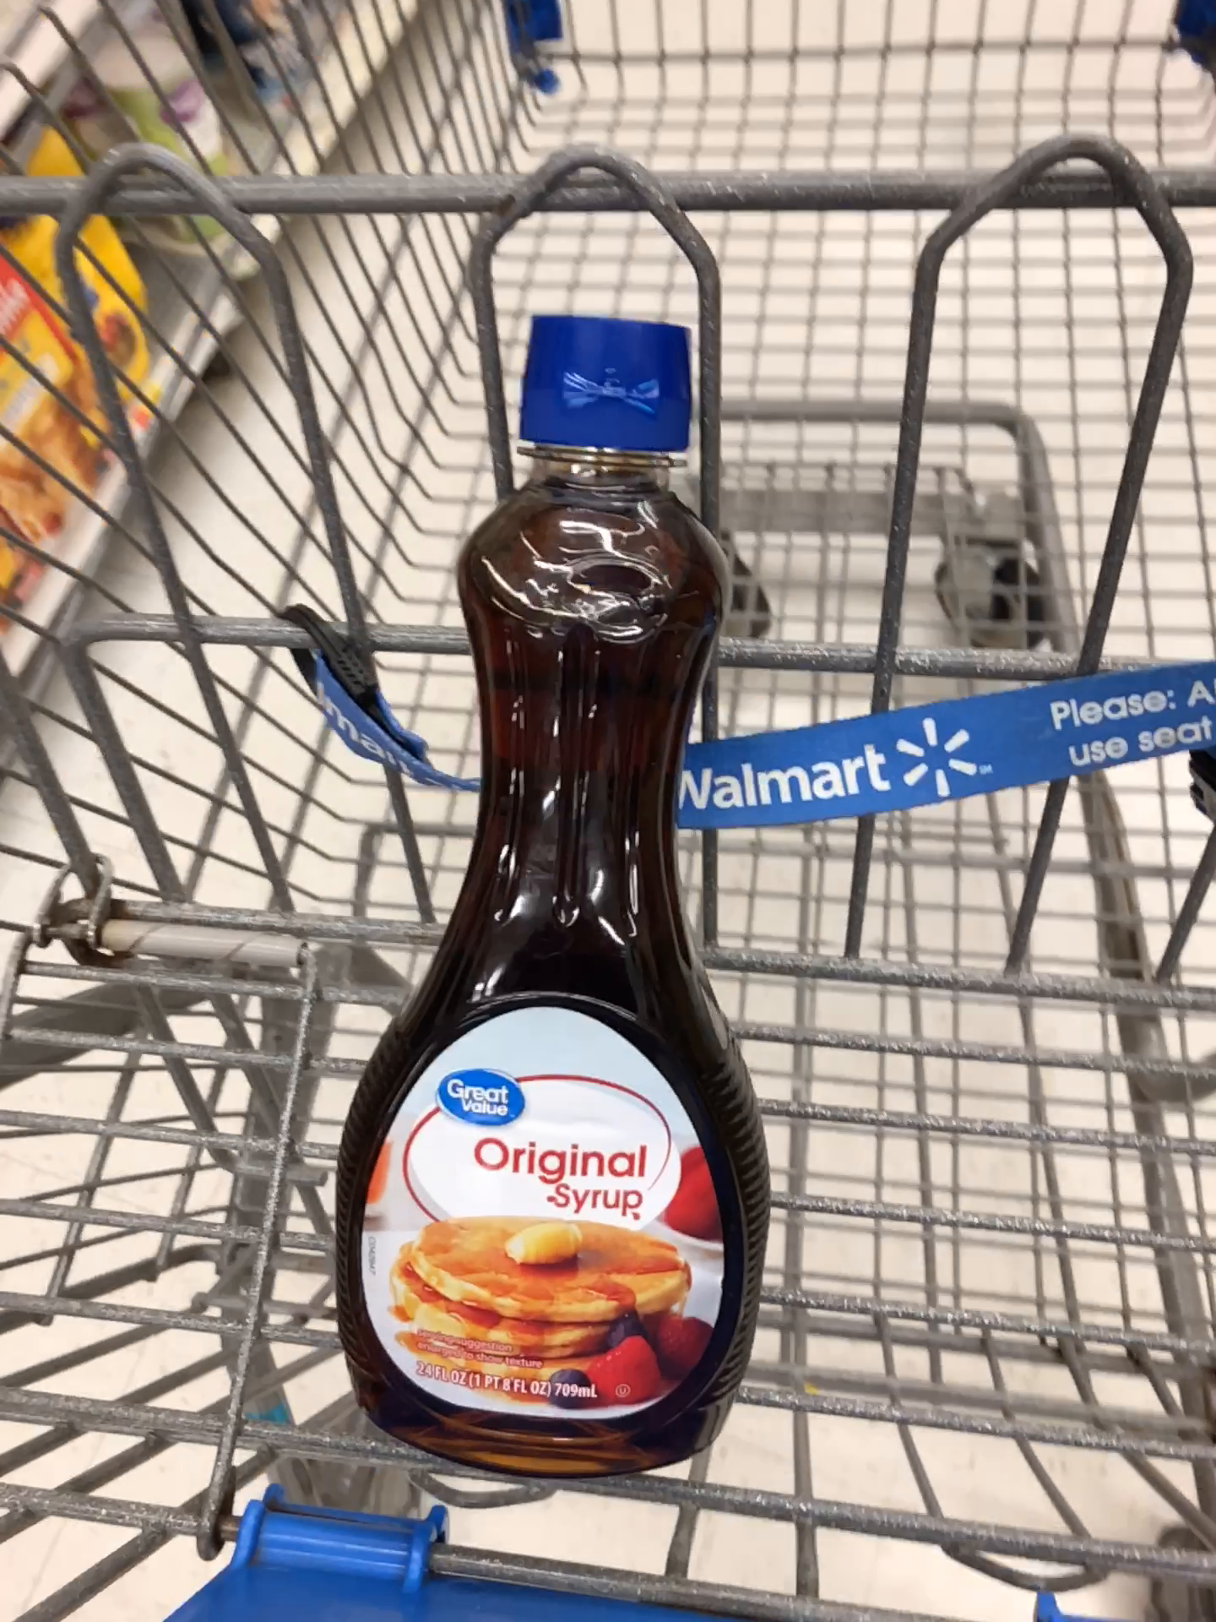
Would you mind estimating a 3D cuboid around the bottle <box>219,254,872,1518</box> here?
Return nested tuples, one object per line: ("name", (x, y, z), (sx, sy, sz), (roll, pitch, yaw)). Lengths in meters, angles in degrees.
("bottle", (-0.014, 0.016, 0.303), (0.120, 0.070, 0.250), (5, 103, 10))
